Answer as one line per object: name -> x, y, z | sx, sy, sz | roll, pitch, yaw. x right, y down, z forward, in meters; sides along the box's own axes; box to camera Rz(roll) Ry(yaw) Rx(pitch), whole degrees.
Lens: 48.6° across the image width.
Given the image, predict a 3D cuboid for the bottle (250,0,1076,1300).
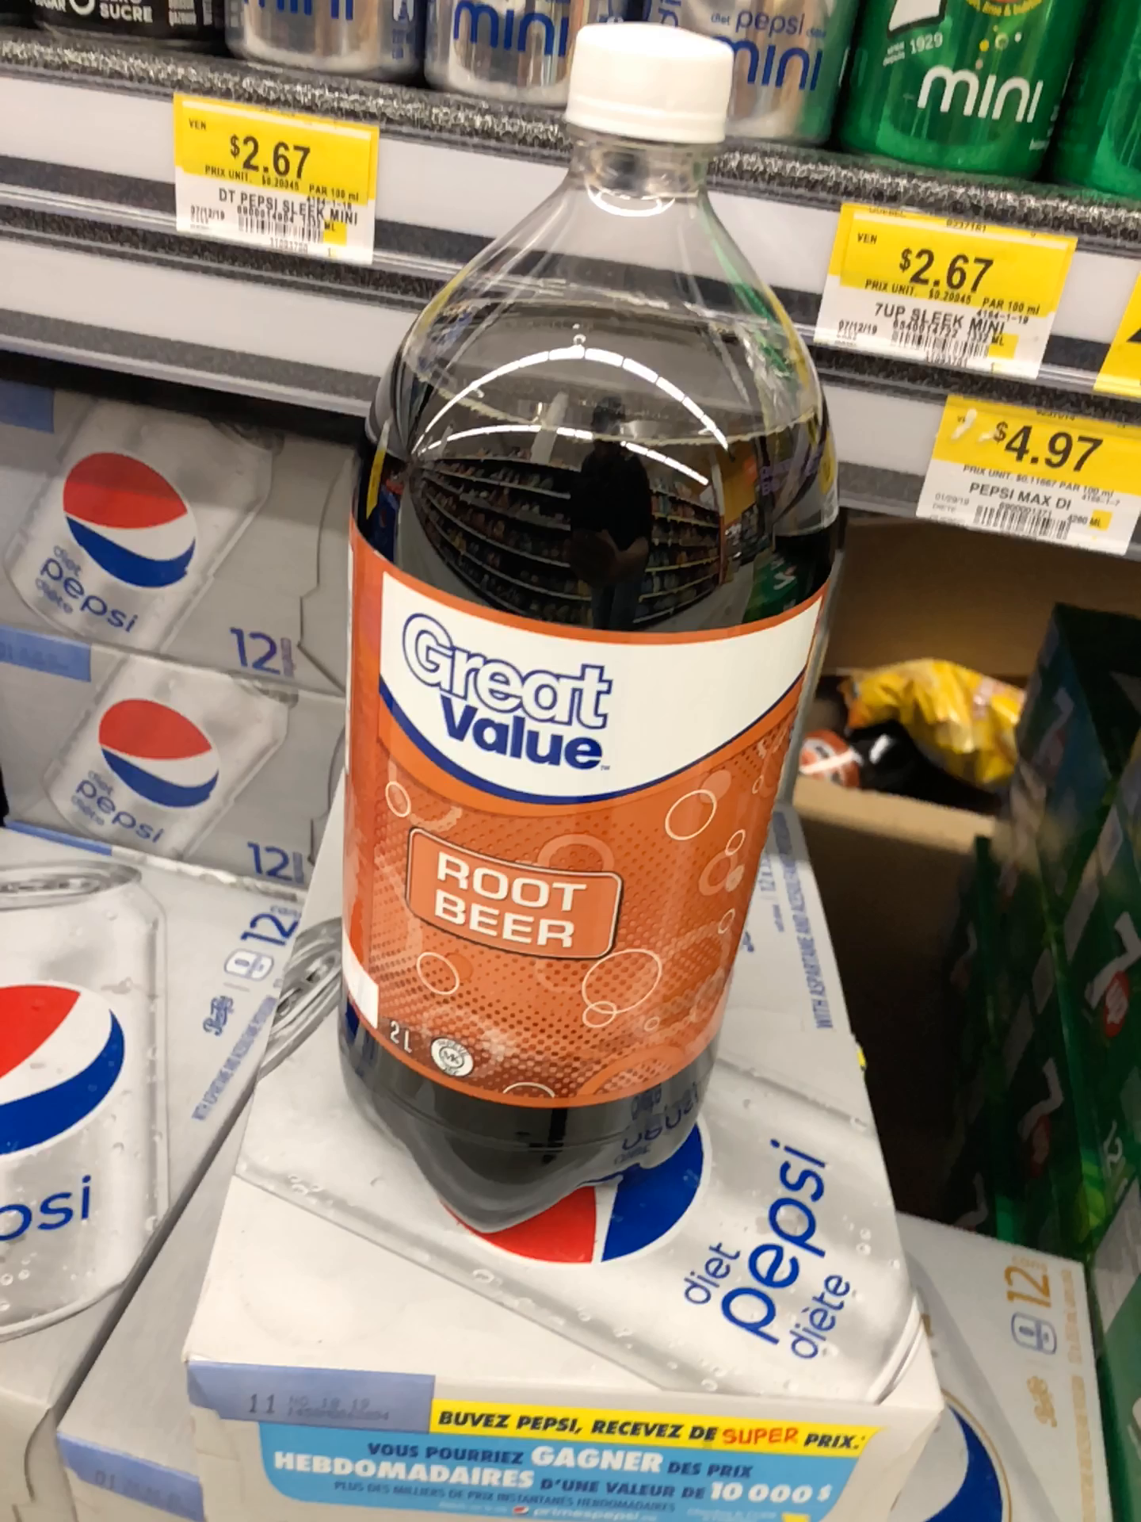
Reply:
bottle -> 0.013, -0.021, 0.302 | 0.120, 0.268, 0.121 | 5, 34, -3
